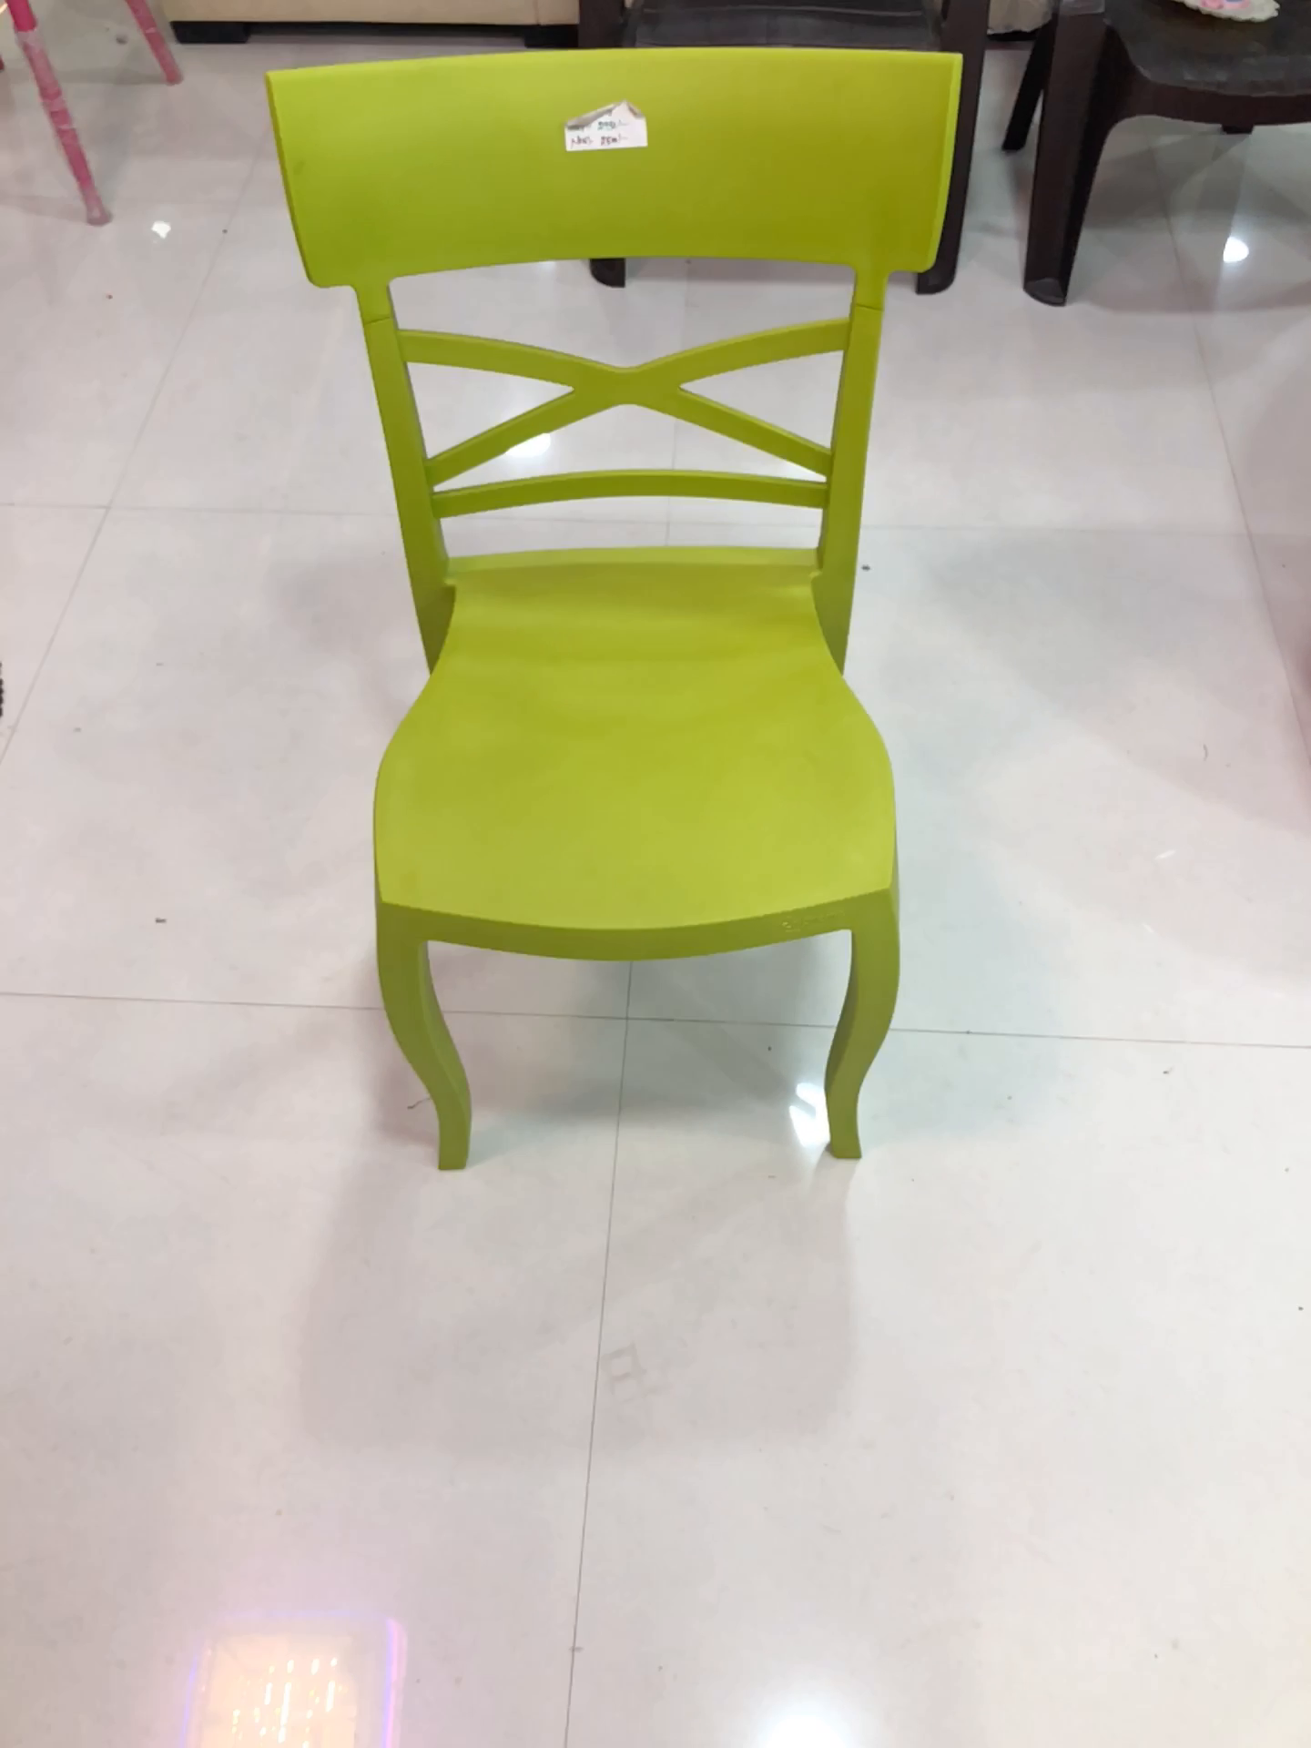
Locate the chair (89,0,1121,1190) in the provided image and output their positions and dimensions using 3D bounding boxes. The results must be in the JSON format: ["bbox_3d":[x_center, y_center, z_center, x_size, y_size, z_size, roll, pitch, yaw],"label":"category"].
[{"bbox_3d":[-0.016,-0.194,1.203,0.500,0.805,0.613,-1,53,1],"label":"chair"}]
